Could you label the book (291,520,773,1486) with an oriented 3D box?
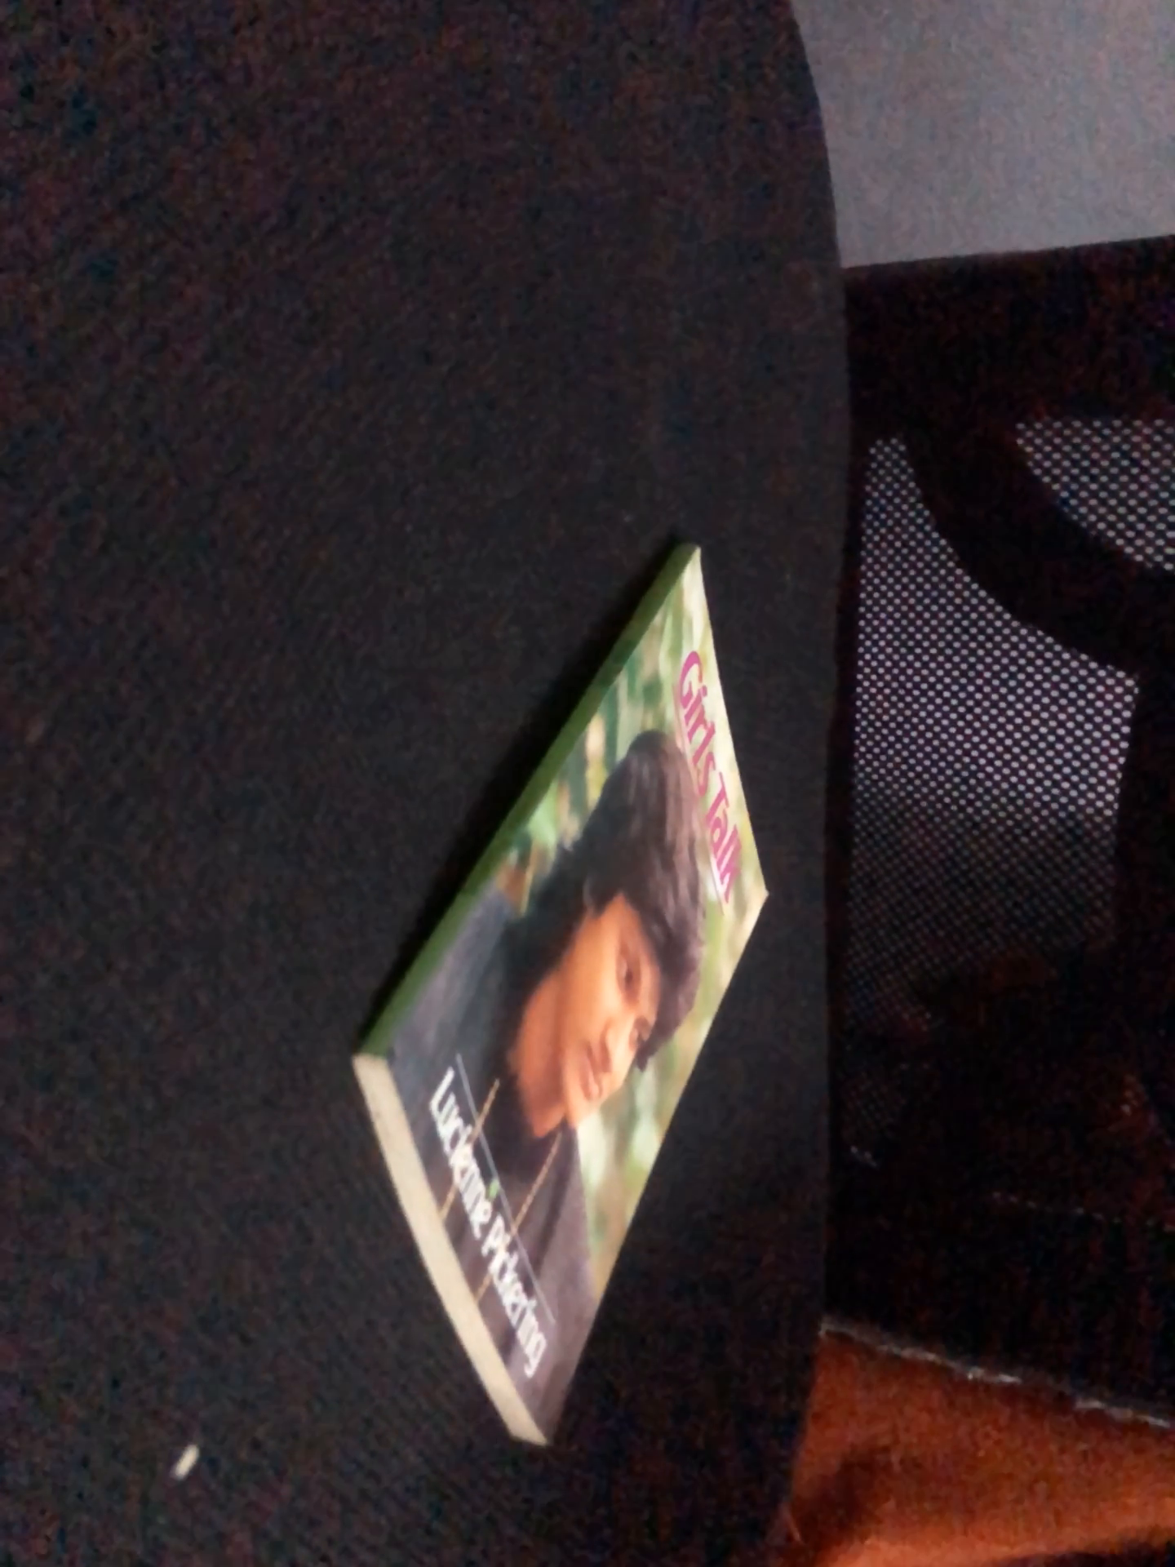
[{"bbox_3d":[0.006,0.039,0.316,0.201,0.010,0.130,-59,143,-47],"label":"book"}]
